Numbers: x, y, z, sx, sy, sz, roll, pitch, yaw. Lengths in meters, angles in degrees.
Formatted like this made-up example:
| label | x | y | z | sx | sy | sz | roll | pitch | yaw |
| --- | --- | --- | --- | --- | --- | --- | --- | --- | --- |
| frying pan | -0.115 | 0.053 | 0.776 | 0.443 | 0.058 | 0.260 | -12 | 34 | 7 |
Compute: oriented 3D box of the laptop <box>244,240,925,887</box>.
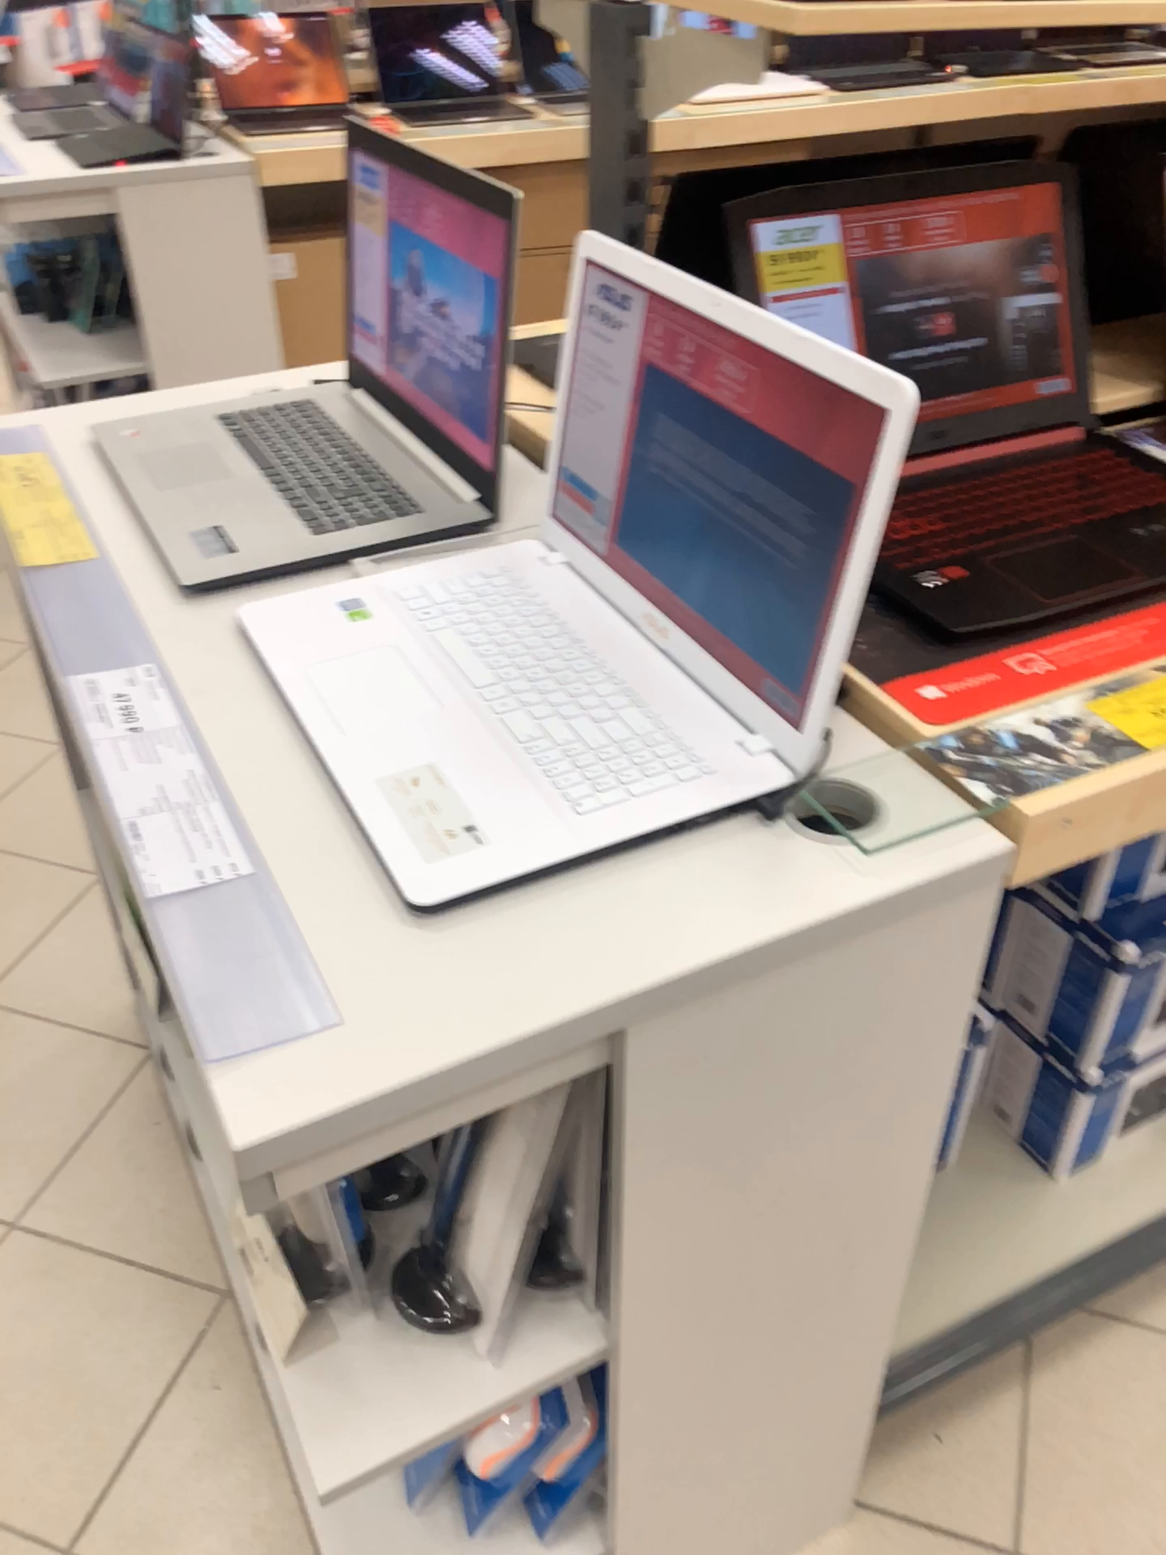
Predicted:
| label | x | y | z | sx | sy | sz | roll | pitch | yaw |
| --- | --- | --- | --- | --- | --- | --- | --- | --- | --- |
| laptop | -0.025 | -0.179 | 0.867 | 0.300 | 0.235 | 0.388 | -17 | 38 | -20 |
